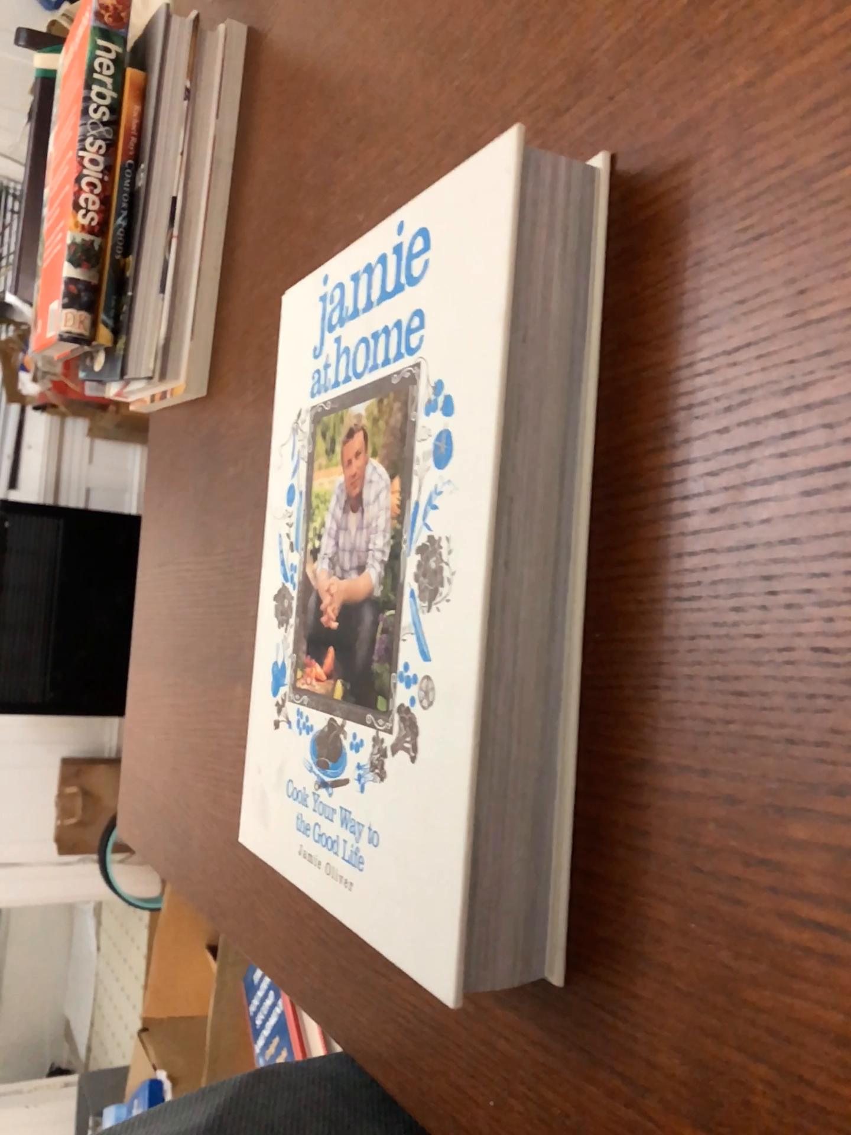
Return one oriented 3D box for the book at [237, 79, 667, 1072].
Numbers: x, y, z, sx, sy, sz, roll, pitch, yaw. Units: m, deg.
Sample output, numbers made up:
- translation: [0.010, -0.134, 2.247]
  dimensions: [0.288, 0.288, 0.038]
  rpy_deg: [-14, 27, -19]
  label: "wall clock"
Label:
- translation: [-0.008, 0.001, 0.348]
  dimensions: [0.211, 0.040, 0.260]
  rpy_deg: [0, 84, 62]
  label: "book"
